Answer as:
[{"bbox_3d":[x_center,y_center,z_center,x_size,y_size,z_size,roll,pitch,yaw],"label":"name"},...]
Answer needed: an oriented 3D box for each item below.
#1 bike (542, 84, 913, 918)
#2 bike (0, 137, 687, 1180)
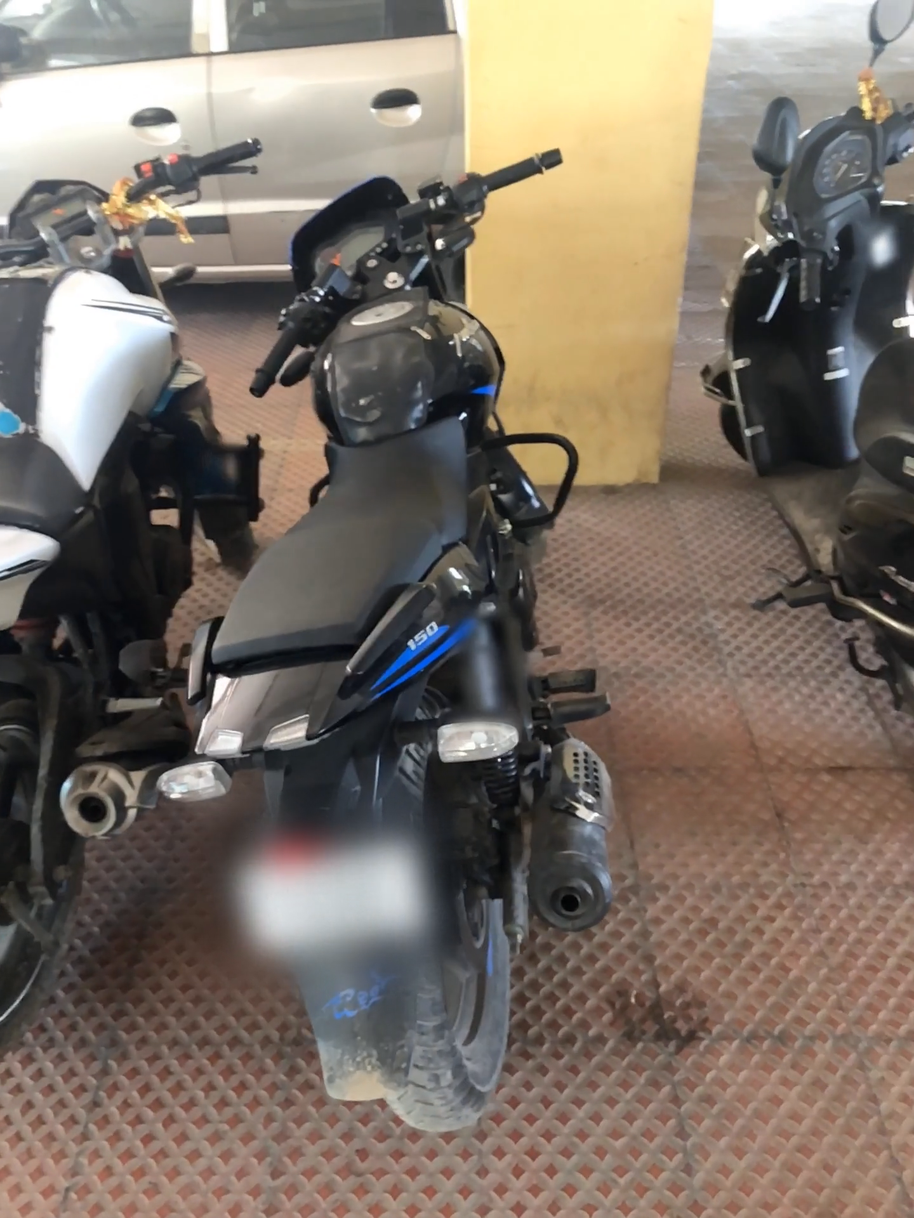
[{"bbox_3d":[0.791,-0.414,2.336,0.713,1.222,1.723,-7,35,-9],"label":"bike"},{"bbox_3d":[-0.250,-0.168,1.829,0.745,0.988,1.854,-2,34,-2],"label":"bike"}]
